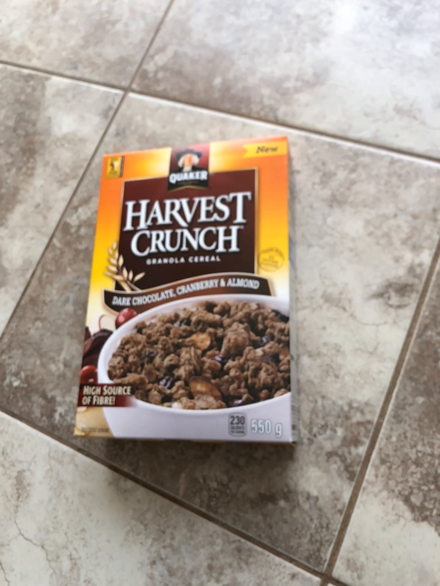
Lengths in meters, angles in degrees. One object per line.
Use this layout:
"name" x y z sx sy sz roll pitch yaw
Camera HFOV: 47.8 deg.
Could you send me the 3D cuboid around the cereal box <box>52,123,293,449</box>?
"cereal box" -0.029 -0.004 0.414 0.170 0.070 0.250 -2 73 13
